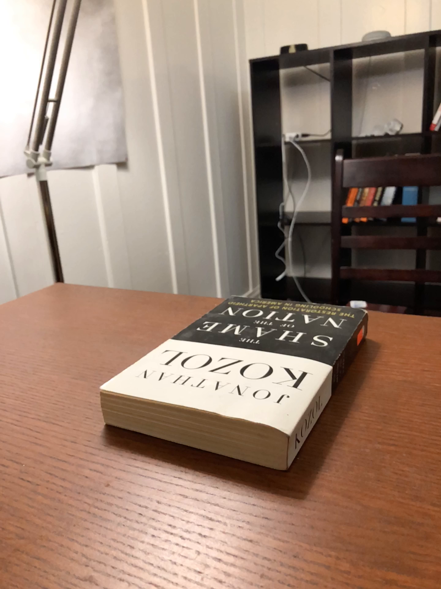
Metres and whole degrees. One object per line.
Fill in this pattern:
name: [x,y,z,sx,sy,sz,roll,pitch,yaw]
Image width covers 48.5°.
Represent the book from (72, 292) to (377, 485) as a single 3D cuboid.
book: [0.023,0.051,0.401,0.160,0.030,0.231,5,19,28]
